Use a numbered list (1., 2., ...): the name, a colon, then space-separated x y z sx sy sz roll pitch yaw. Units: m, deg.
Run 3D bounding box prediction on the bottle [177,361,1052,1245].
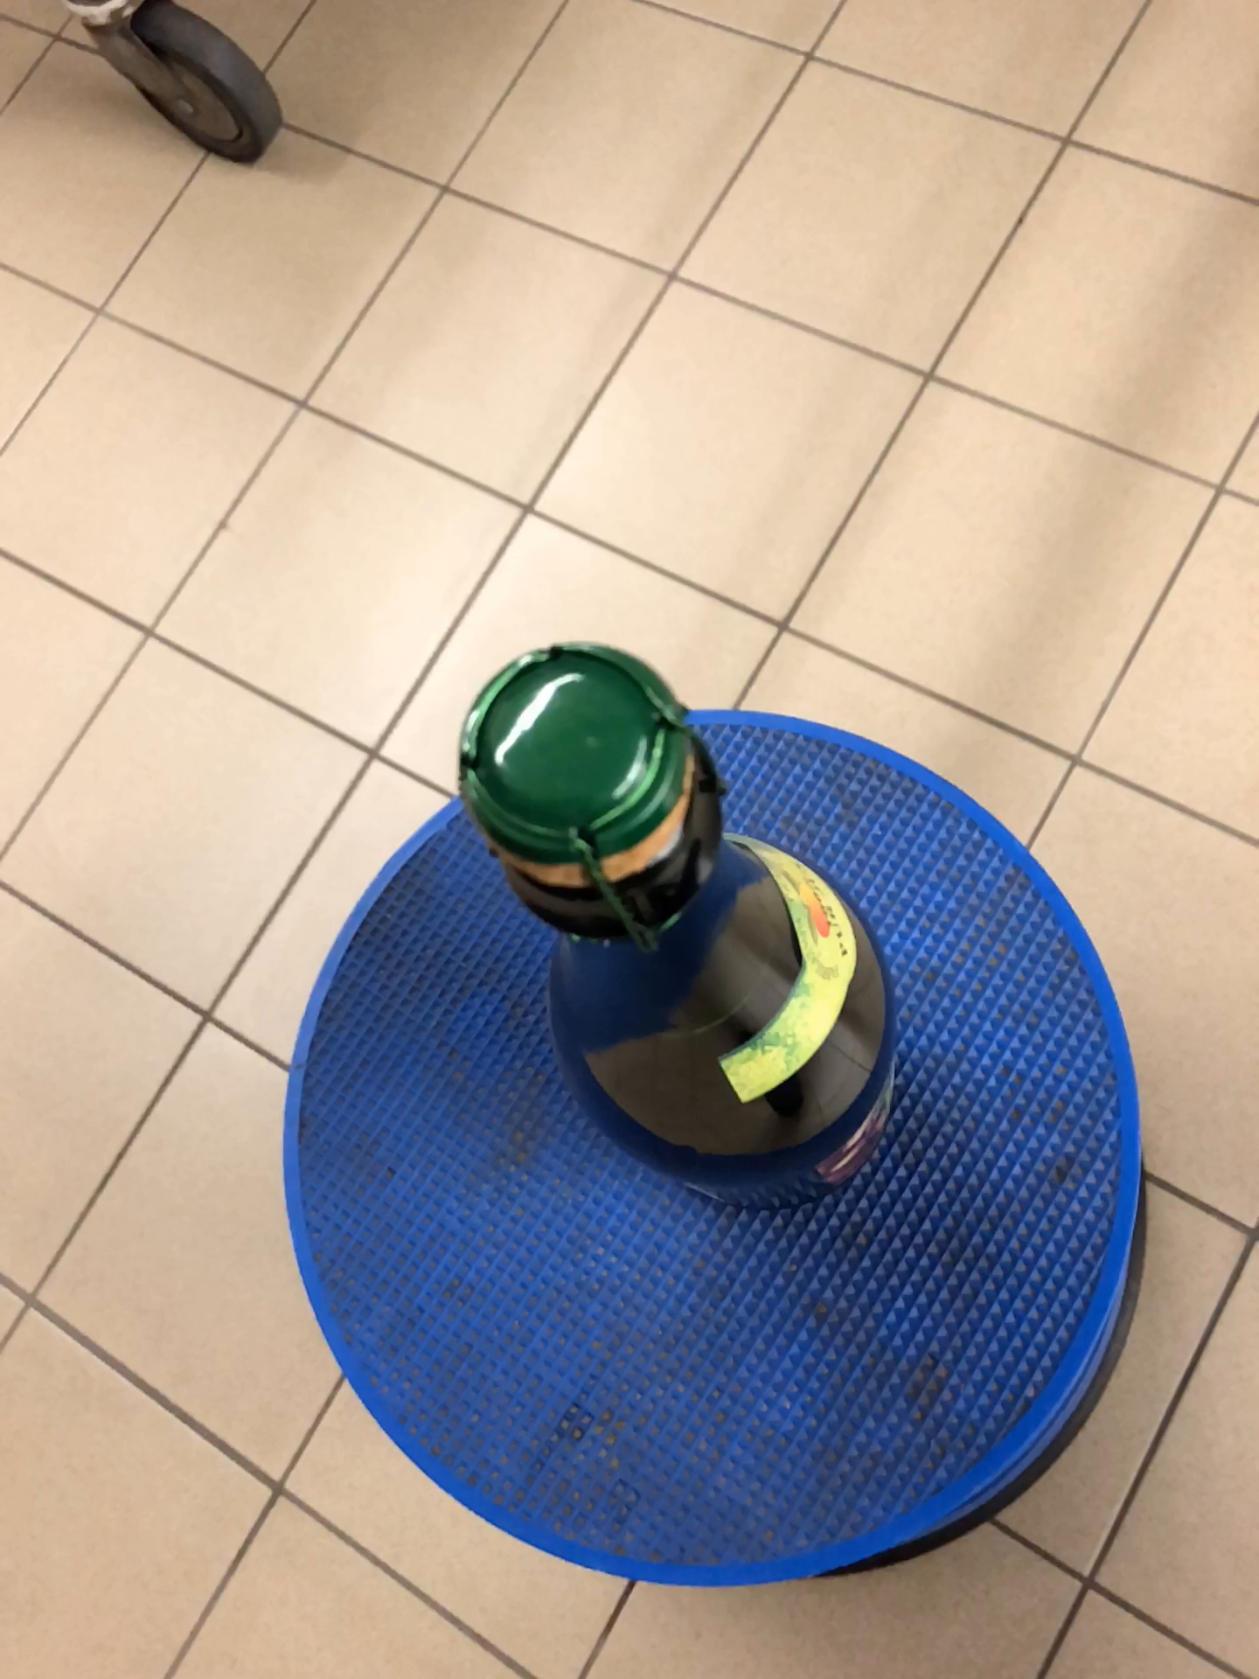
1. bottle: 0.019 0.033 0.301 0.090 0.290 0.090 -3 73 10
